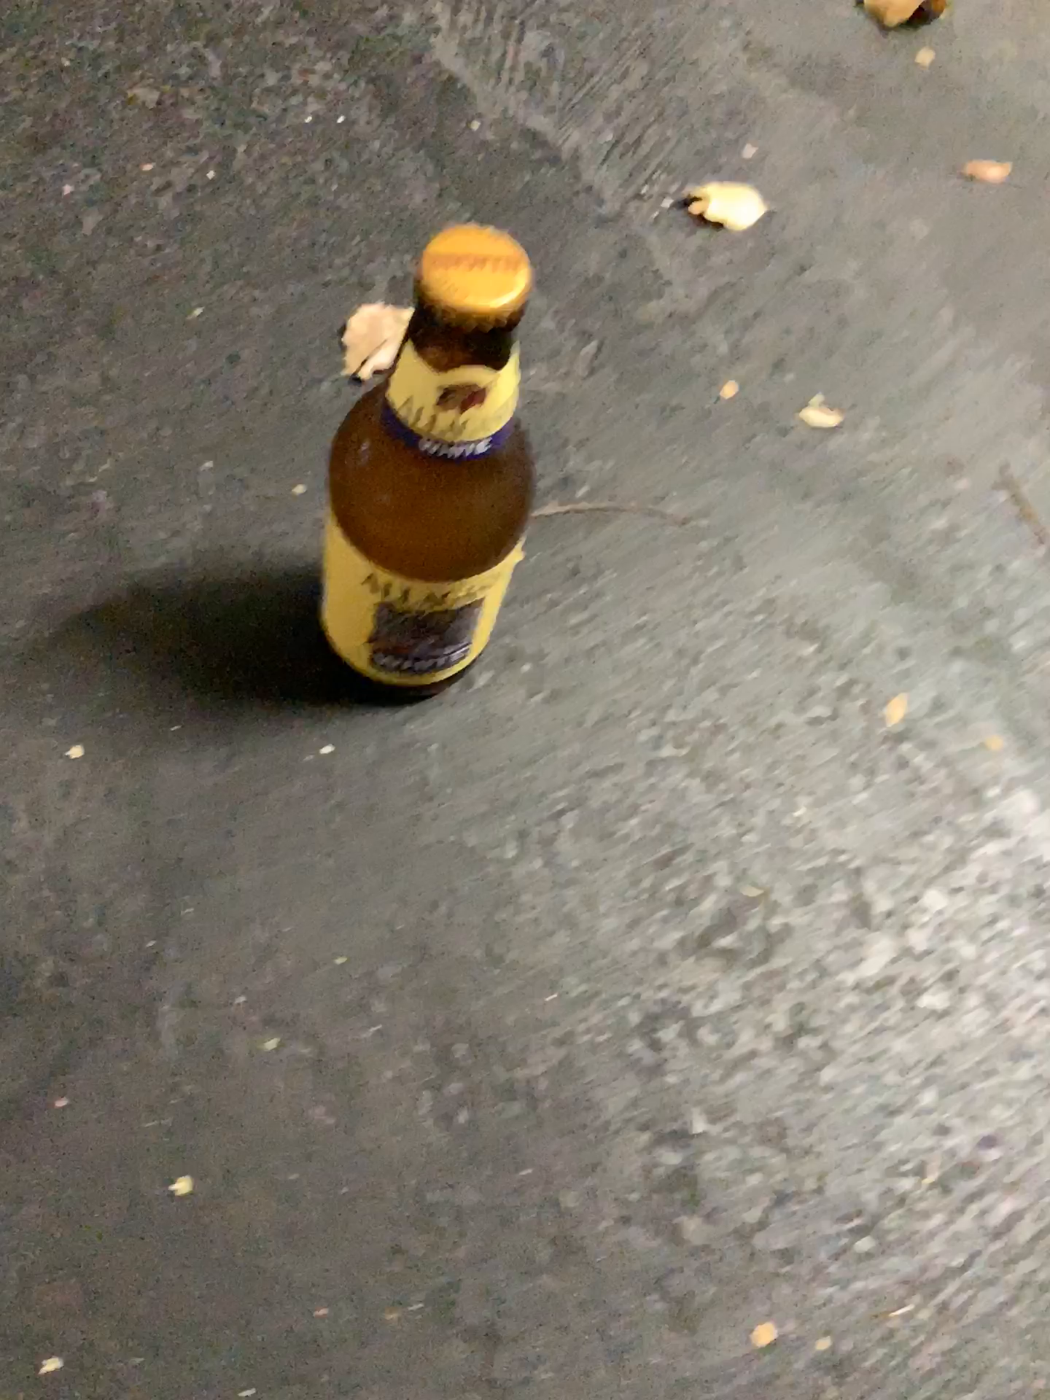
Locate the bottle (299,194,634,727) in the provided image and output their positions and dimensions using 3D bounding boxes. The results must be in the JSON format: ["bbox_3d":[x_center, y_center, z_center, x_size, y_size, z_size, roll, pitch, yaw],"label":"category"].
[{"bbox_3d":[-0.032,-0.060,0.371,0.070,0.190,0.070,4,68,-10],"label":"bottle"}]
